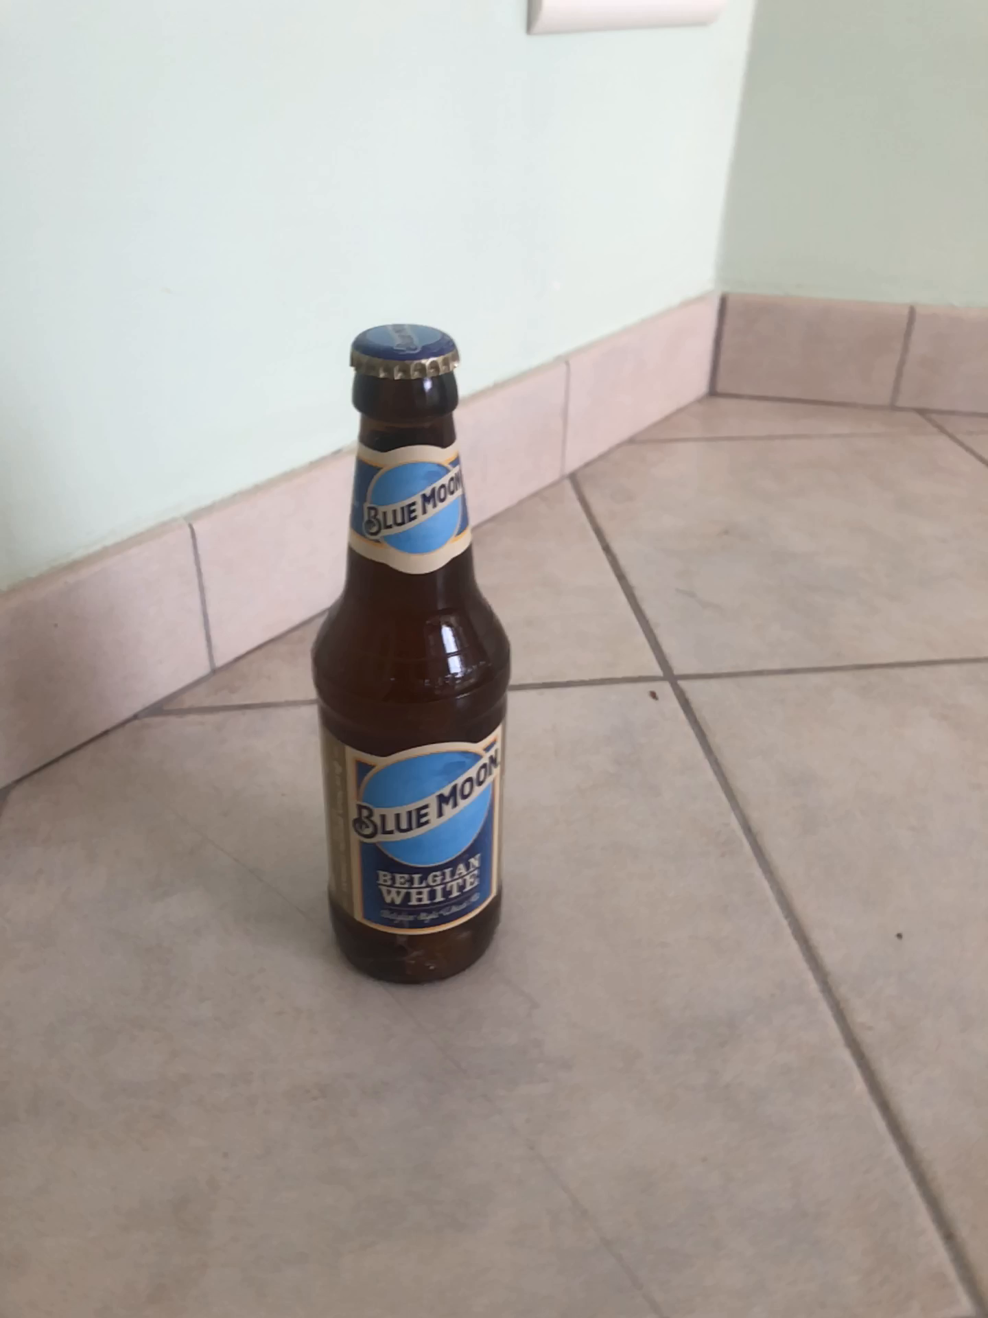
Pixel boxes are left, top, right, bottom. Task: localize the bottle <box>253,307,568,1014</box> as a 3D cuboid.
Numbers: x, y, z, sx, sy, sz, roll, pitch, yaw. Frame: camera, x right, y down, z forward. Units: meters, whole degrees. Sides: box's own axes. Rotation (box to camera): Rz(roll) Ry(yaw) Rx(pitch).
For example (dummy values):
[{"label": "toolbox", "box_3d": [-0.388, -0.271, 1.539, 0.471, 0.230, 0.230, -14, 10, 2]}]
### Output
[{"label": "bottle", "box_3d": [-0.028, 0.007, 0.342, 0.070, 0.209, 0.070, 2, 33, -1]}]
